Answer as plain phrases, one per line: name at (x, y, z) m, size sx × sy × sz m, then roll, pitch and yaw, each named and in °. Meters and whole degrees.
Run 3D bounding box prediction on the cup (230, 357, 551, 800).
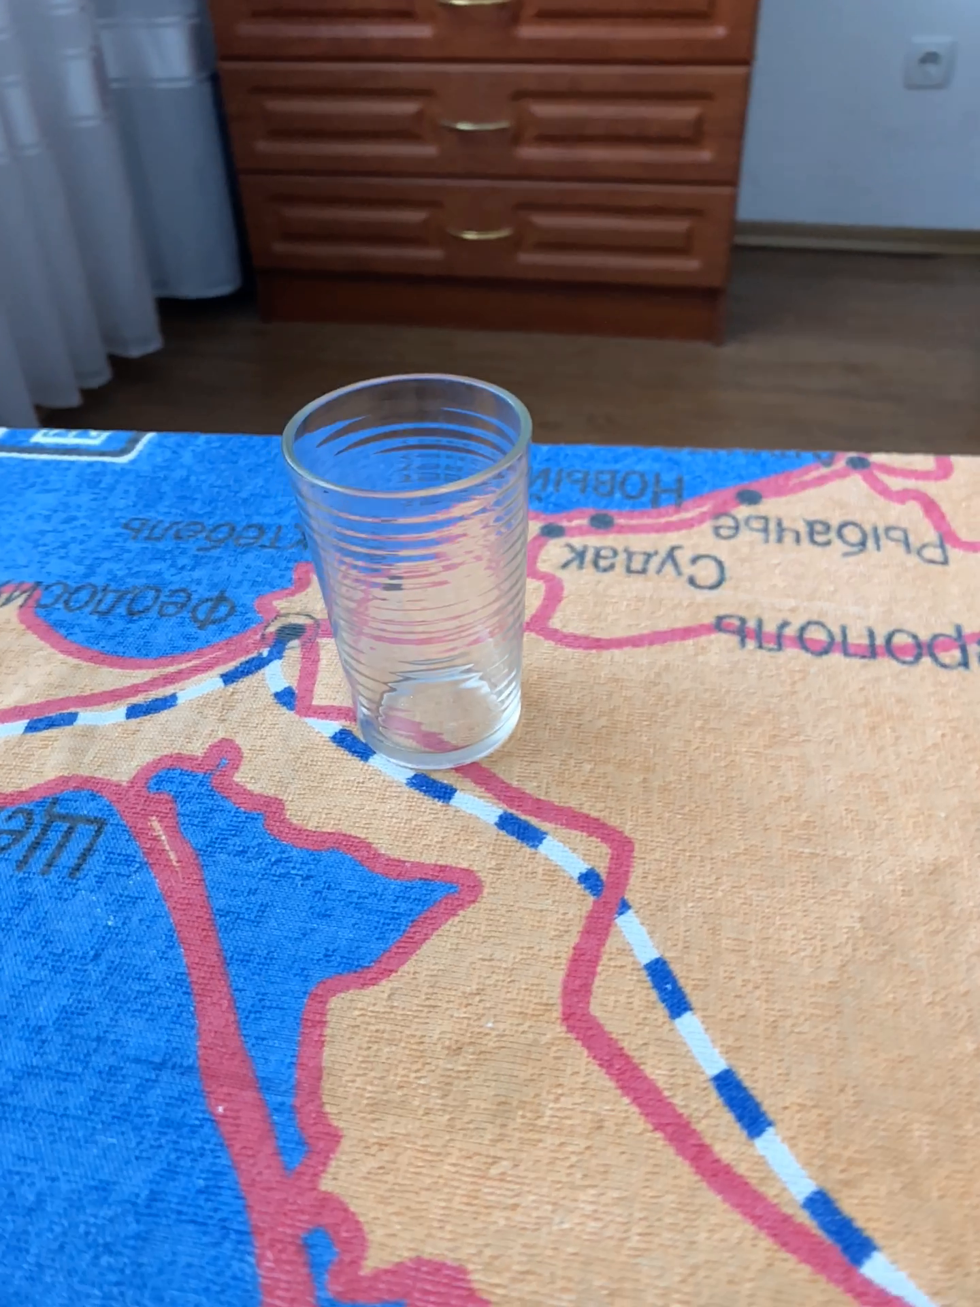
cup at (-0.021, -0.022, 0.313) m, size 0.068 × 0.099 × 0.070 m, roll -1°, pitch 40°, yaw 1°
